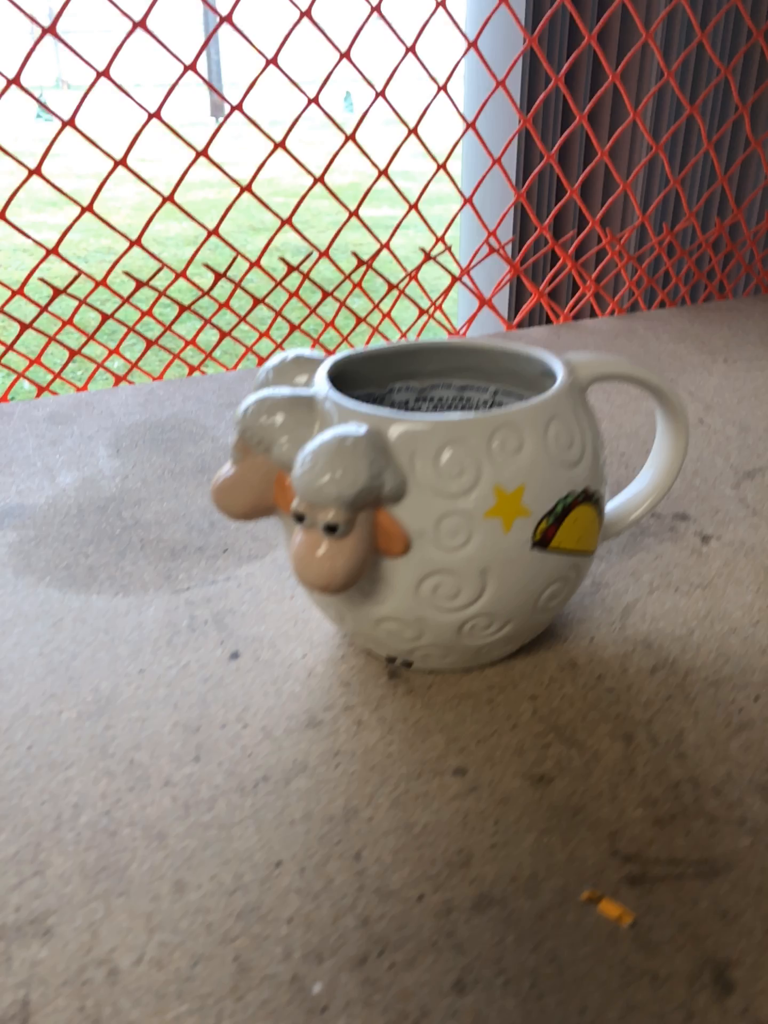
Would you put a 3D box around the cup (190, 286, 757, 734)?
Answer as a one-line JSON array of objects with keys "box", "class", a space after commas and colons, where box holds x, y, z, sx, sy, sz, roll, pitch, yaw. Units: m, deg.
[{"box": [0.025, -0.009, 0.271, 0.146, 0.090, 0.076, -12, 31, -19], "class": "cup"}]
